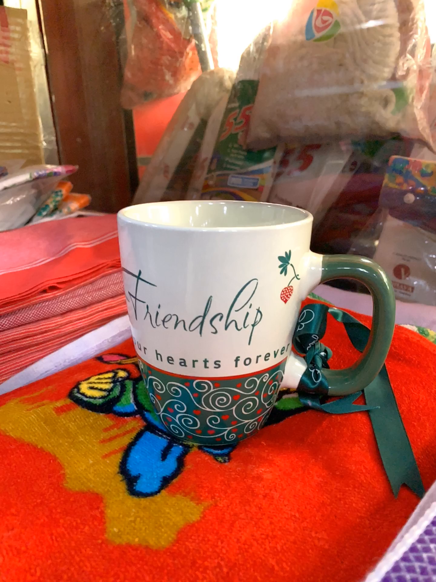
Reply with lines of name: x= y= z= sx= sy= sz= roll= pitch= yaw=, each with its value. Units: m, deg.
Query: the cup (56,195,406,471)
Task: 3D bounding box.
cup: x=0.012 y=0.007 z=0.229 sx=0.132 sy=0.094 sz=0.101 roll=4 pitch=20 yaw=13
